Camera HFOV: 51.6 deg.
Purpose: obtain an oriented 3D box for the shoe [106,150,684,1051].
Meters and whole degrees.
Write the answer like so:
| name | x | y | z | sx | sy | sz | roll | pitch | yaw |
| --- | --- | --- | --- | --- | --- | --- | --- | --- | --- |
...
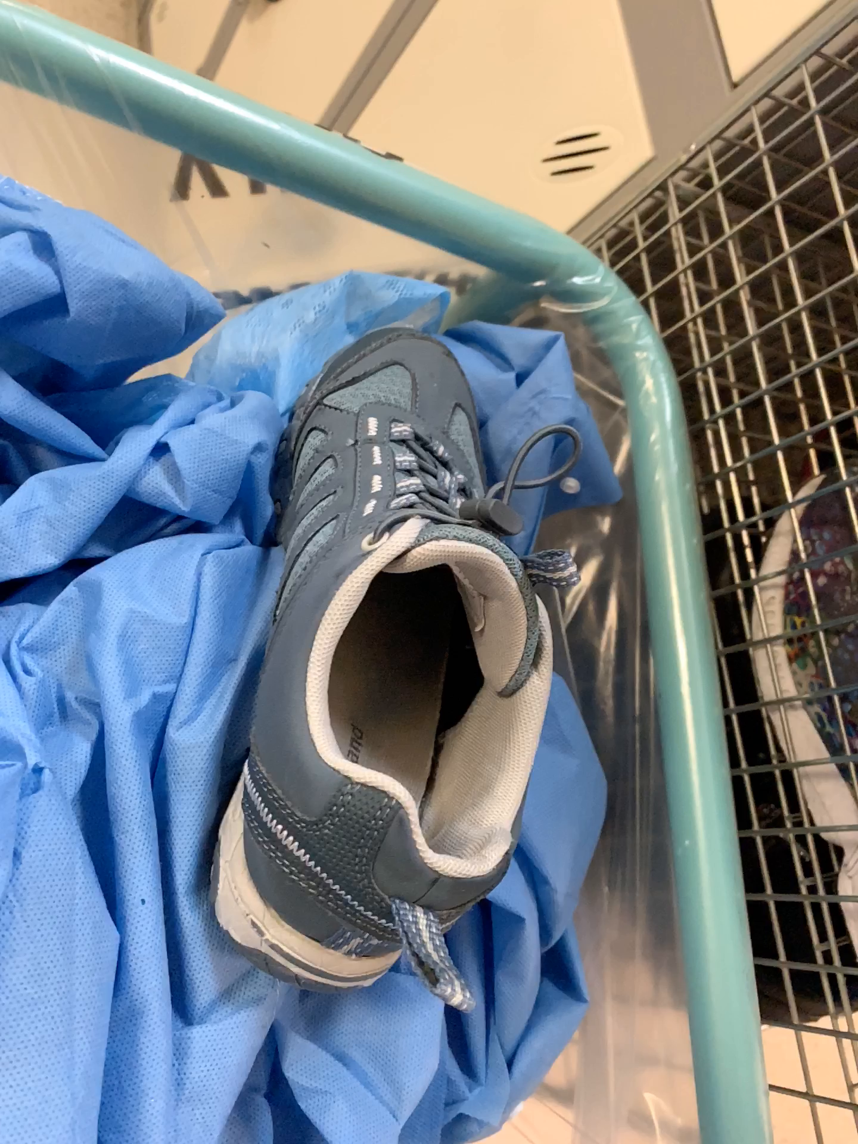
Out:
| name | x | y | z | sx | sy | sz | roll | pitch | yaw |
| --- | --- | --- | --- | --- | --- | --- | --- | --- | --- |
| shoe | -0.002 | 0.007 | 0.293 | 0.101 | 0.109 | 0.241 | 25 | 62 | -24 |
